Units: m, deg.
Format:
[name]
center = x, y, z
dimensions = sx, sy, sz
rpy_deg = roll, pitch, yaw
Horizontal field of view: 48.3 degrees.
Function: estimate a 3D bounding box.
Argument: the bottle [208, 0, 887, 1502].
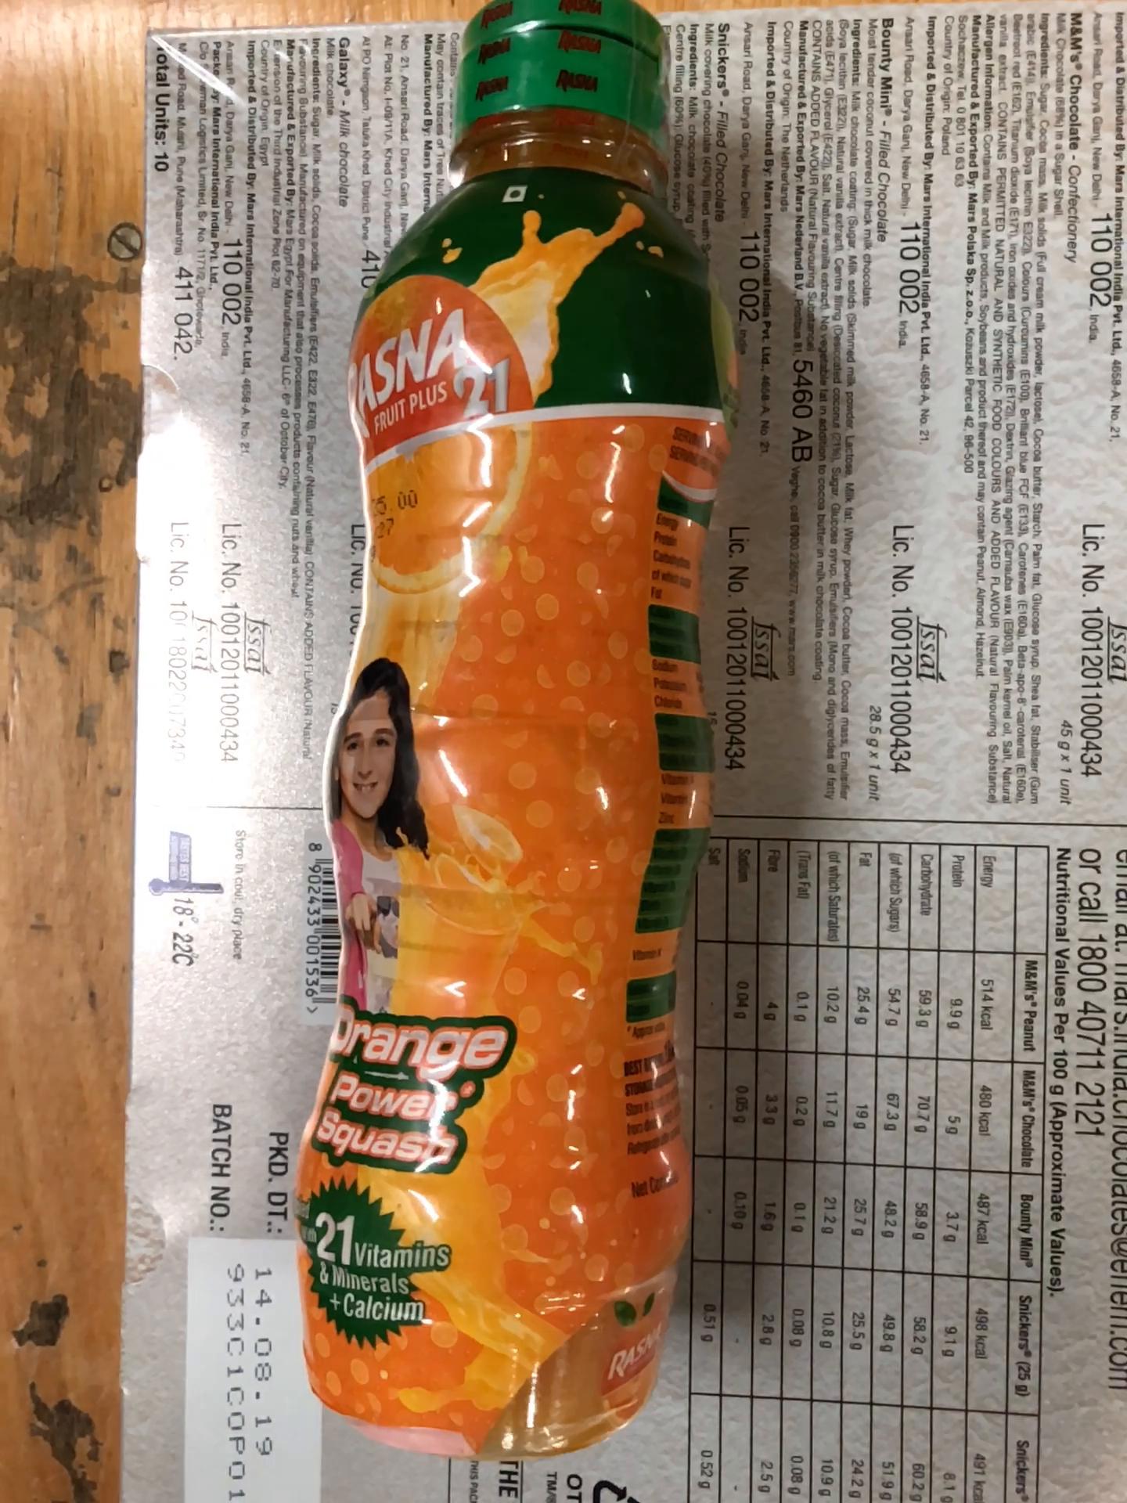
[bottle]
center = -0.006, -0.013, 0.224
dimensions = 0.080, 0.070, 0.250
rpy_deg = 3, 91, -31
